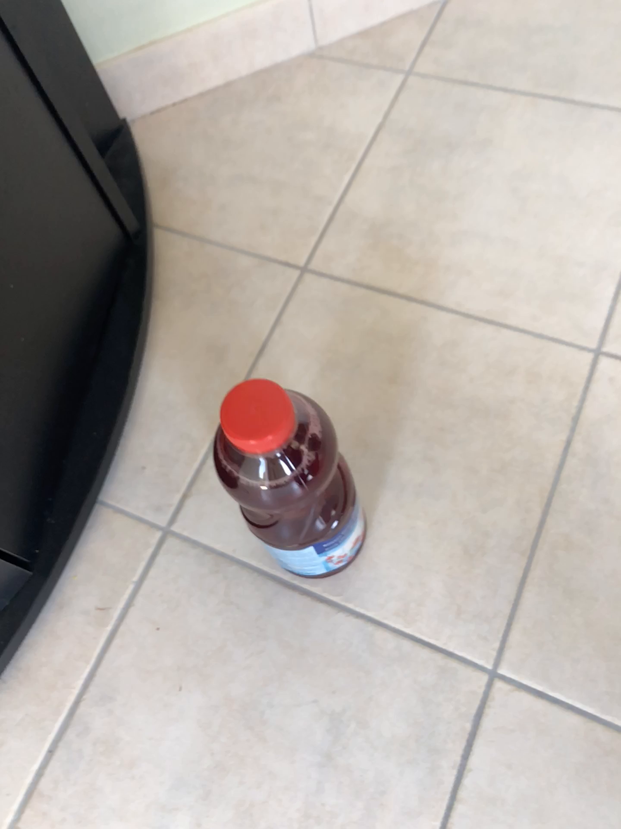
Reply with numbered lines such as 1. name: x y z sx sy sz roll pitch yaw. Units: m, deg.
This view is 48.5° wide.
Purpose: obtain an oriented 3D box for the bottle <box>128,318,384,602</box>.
1. bottle: -0.018 0.048 0.484 0.100 0.239 0.090 20 70 18
